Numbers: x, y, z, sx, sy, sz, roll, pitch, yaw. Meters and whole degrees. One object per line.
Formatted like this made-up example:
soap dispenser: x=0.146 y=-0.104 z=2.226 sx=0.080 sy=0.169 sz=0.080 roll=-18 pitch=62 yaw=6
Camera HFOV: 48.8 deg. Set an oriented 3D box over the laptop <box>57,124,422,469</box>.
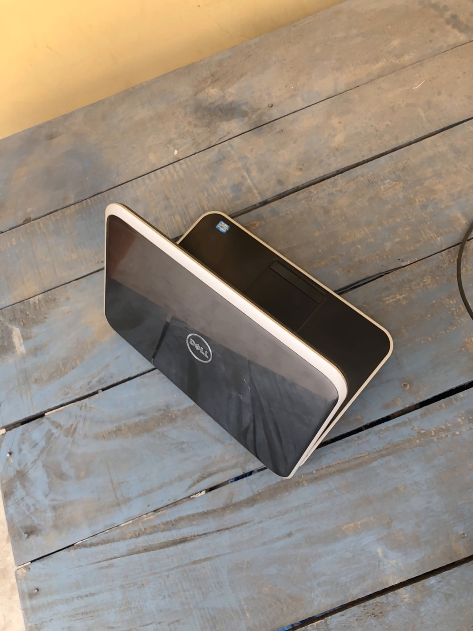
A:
laptop: x=0.002 y=-0.015 z=0.665 sx=0.347 sy=0.207 sz=0.215 roll=40 pitch=82 yaw=19
